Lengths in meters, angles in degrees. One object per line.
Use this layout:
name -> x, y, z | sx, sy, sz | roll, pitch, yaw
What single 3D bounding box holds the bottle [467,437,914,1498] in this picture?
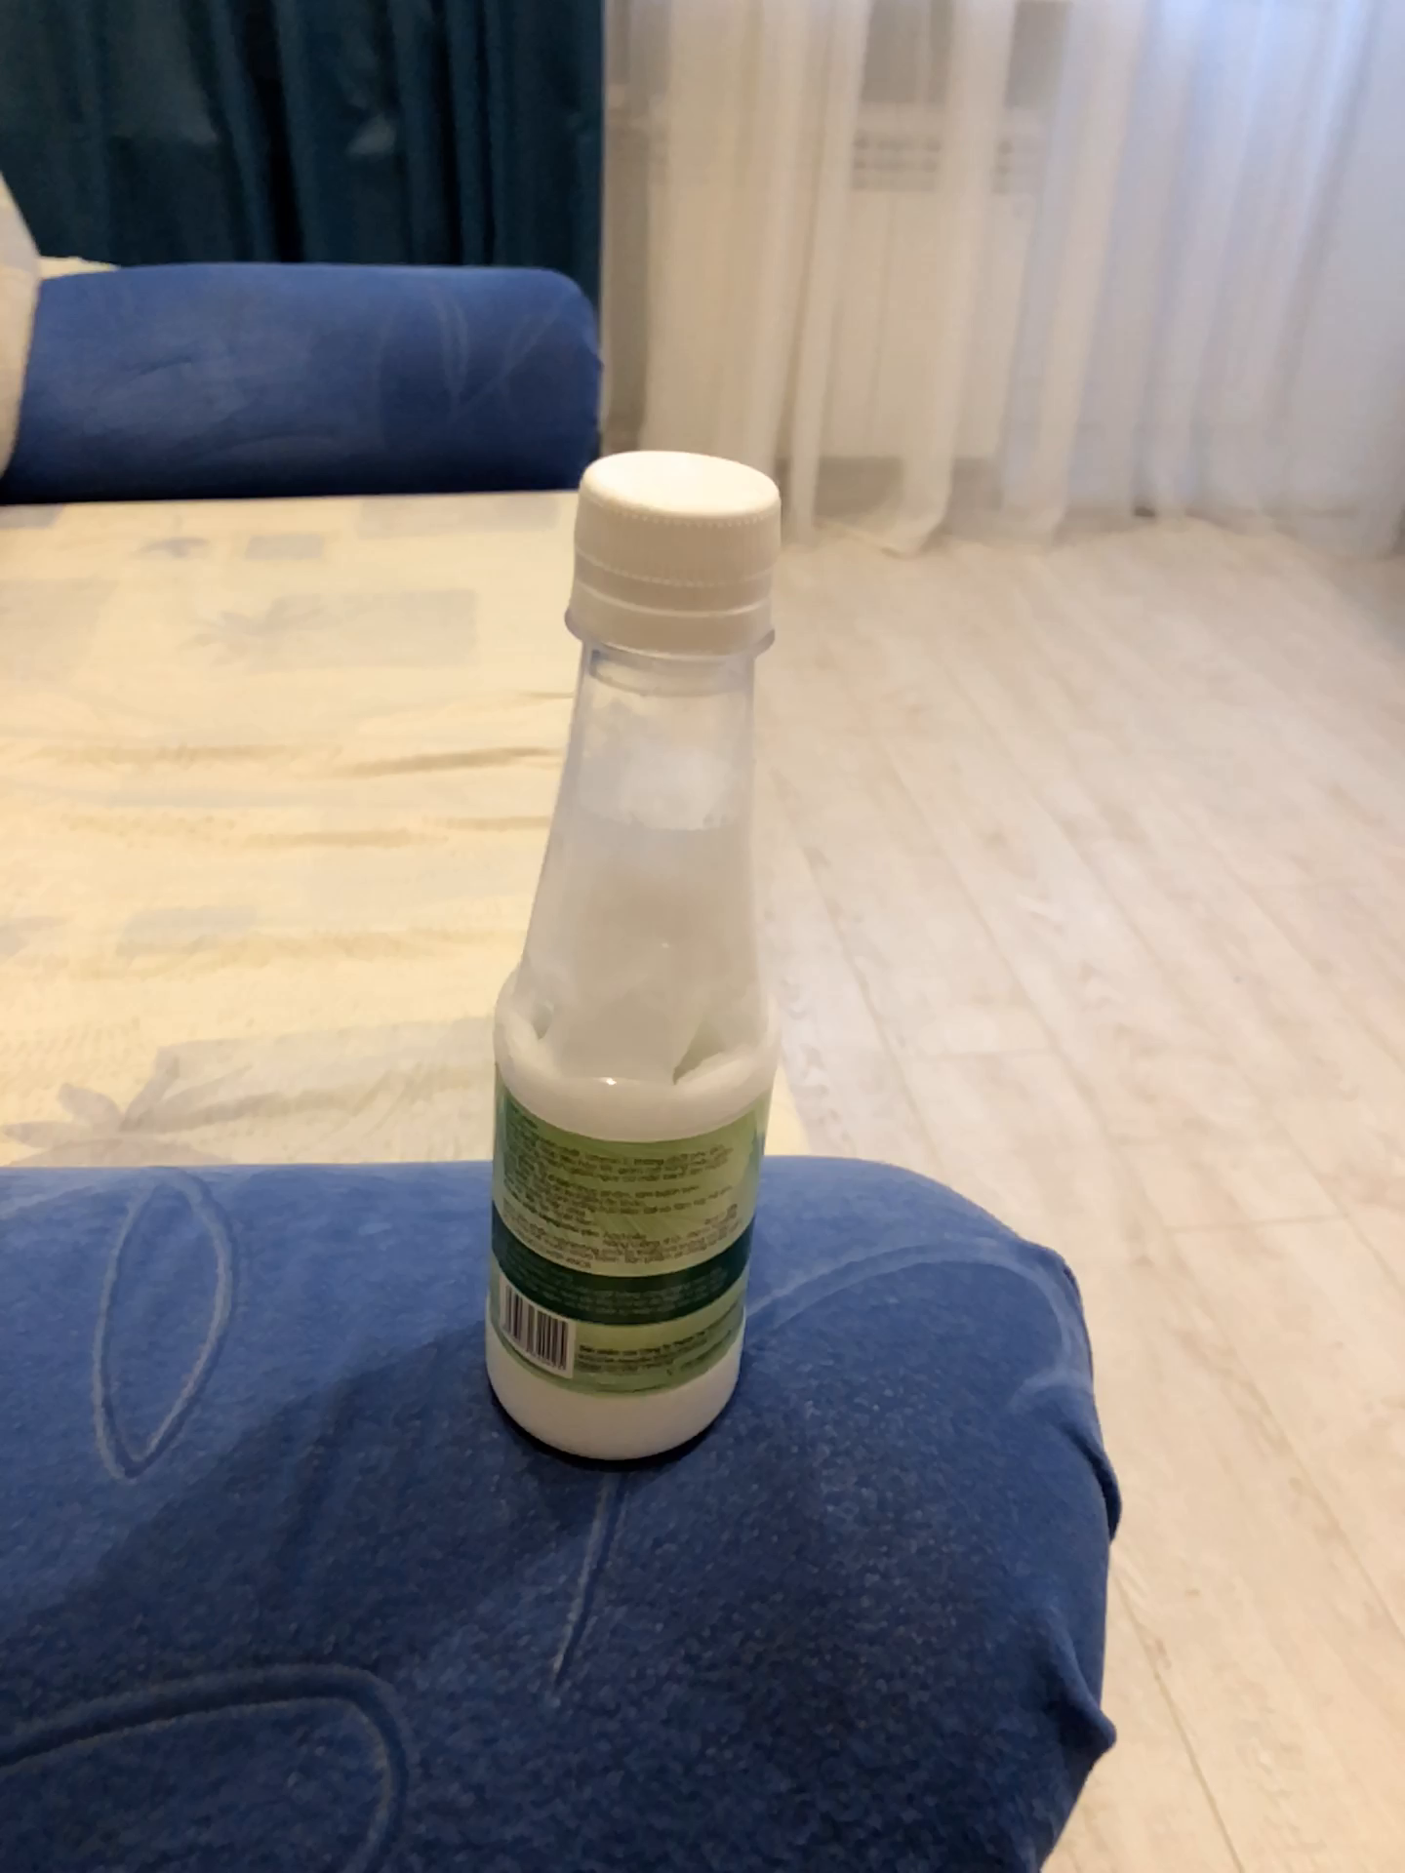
bottle -> -0.010, 0.012, 0.273 | 0.054, 0.183, 0.051 | 4, 30, -2
